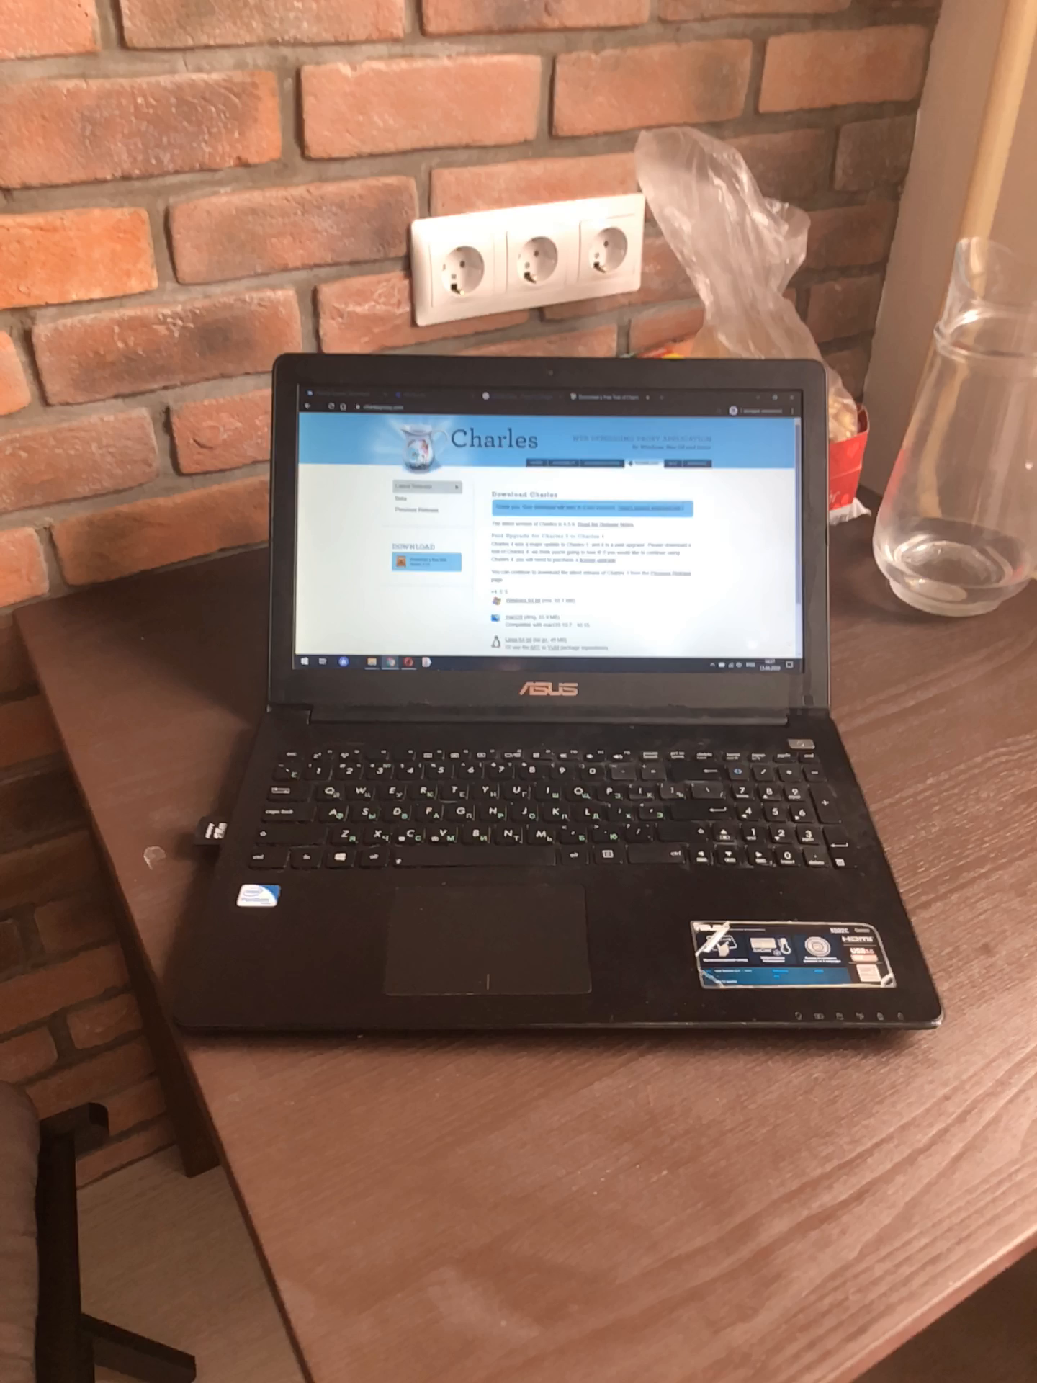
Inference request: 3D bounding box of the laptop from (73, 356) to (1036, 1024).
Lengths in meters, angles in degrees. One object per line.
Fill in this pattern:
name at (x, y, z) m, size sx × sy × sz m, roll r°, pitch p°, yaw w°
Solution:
laptop at (0.017, -0.033, 0.659) m, size 0.372 × 0.186 × 0.401 m, roll 1°, pitch 35°, yaw 0°
